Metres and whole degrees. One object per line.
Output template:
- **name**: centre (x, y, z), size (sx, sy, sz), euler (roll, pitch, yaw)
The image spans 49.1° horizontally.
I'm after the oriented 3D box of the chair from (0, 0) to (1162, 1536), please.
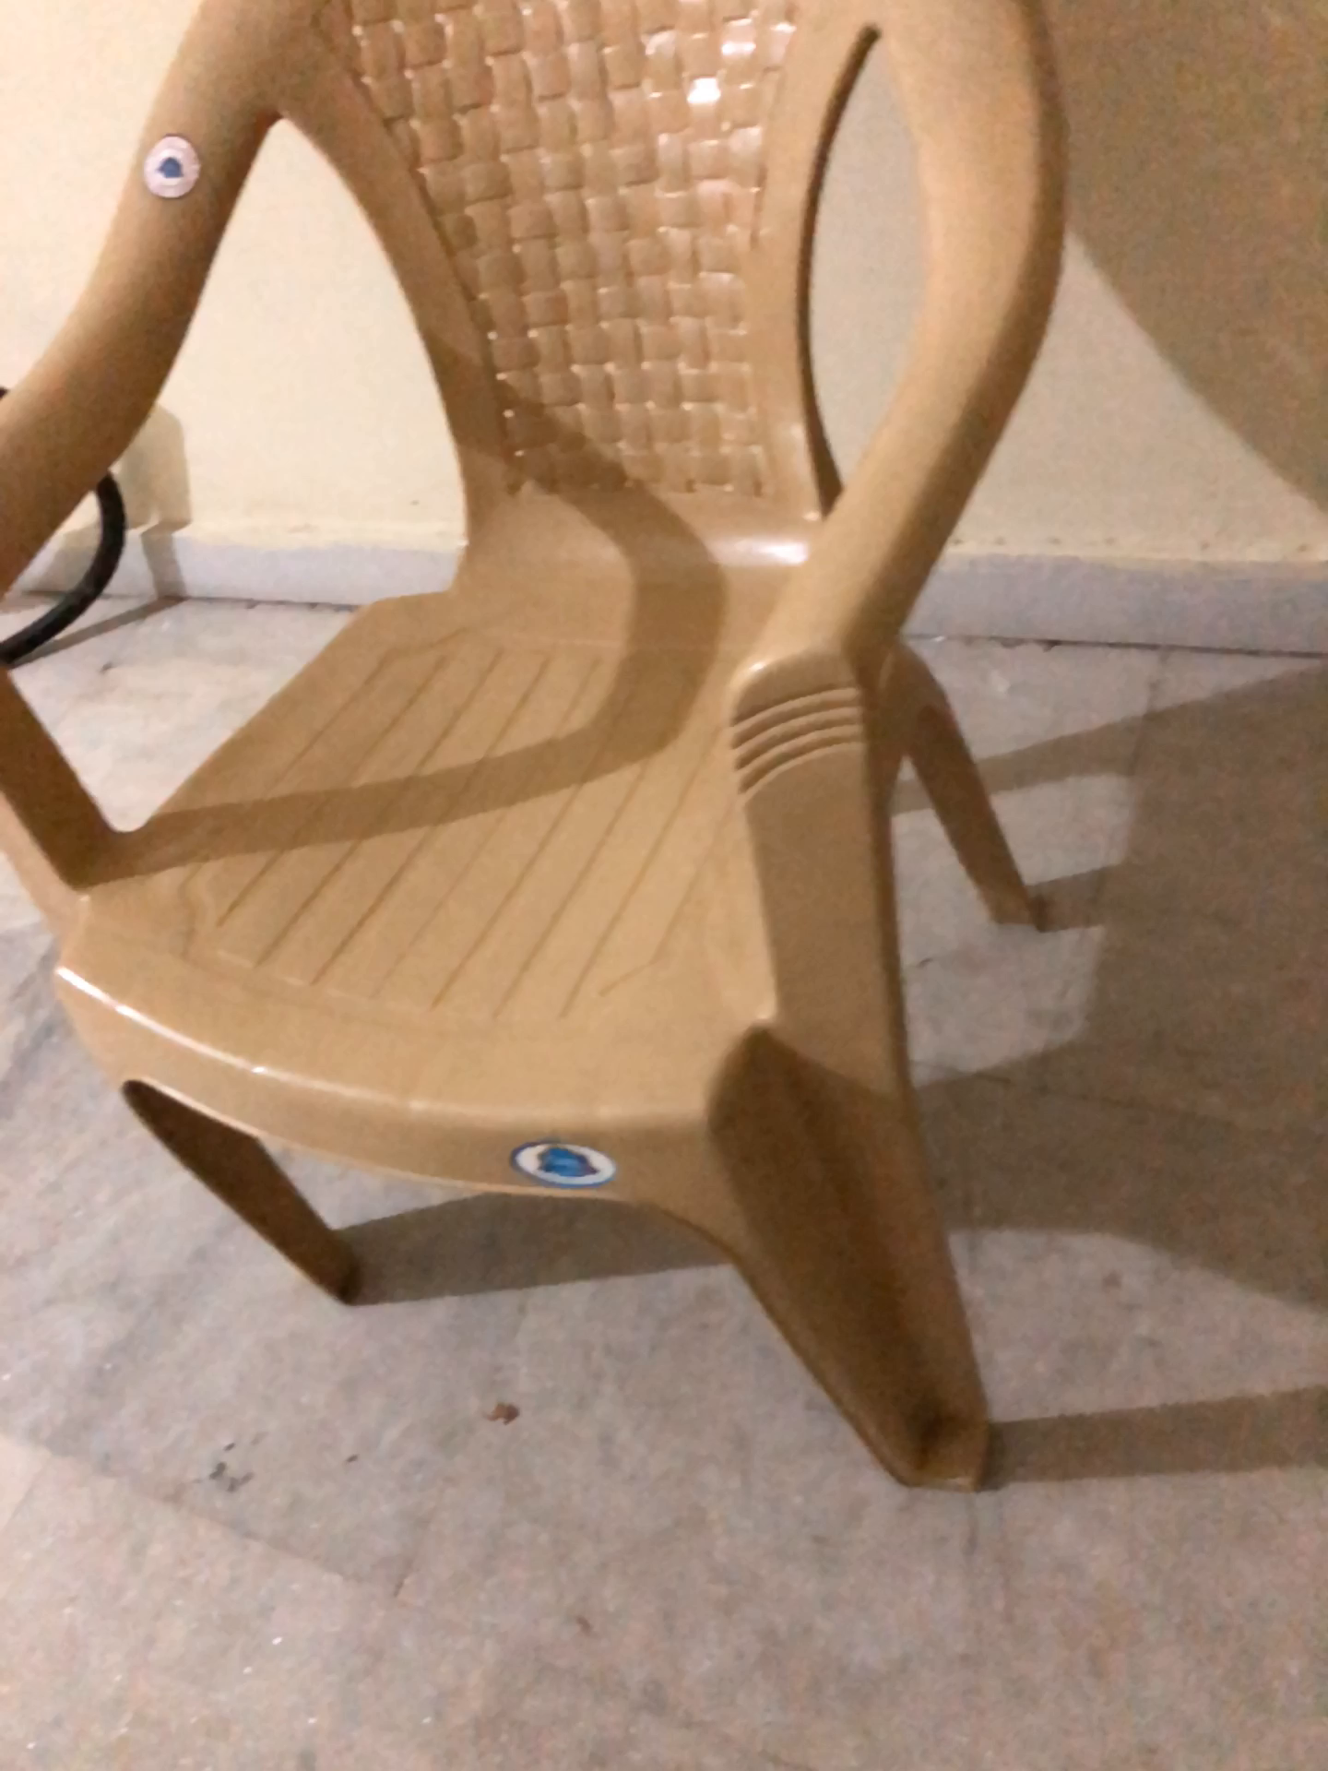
- **chair**: centre (-0.086, -0.132, 0.832), size (0.590, 0.746, 0.603), euler (7, 54, 26)
